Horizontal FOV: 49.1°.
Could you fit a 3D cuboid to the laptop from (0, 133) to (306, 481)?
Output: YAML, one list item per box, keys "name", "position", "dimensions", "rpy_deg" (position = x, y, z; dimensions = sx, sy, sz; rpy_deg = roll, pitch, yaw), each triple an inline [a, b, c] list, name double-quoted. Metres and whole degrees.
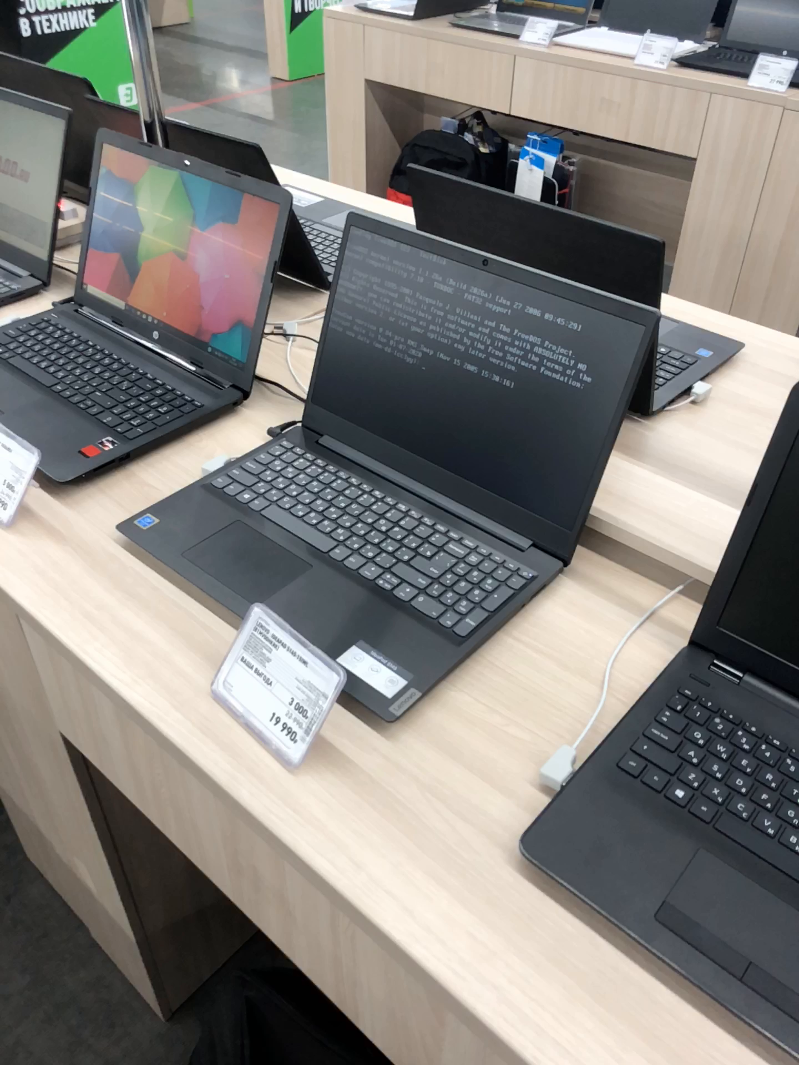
- name: "laptop"
  position: [-0.352, -0.278, 0.985]
  dimensions: [0.352, 0.202, 0.321]
  rpy_deg: [30, 48, 32]

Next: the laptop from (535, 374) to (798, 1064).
- name: "laptop"
  position: [0.302, 0.122, 0.480]
  dimensions: [0.338, 0.208, 0.298]
  rpy_deg: [29, 47, 31]

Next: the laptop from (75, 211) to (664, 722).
- name: "laptop"
  position: [-0.024, -0.092, 0.755]
  dimensions: [0.341, 0.210, 0.322]
  rpy_deg: [29, 47, 32]
